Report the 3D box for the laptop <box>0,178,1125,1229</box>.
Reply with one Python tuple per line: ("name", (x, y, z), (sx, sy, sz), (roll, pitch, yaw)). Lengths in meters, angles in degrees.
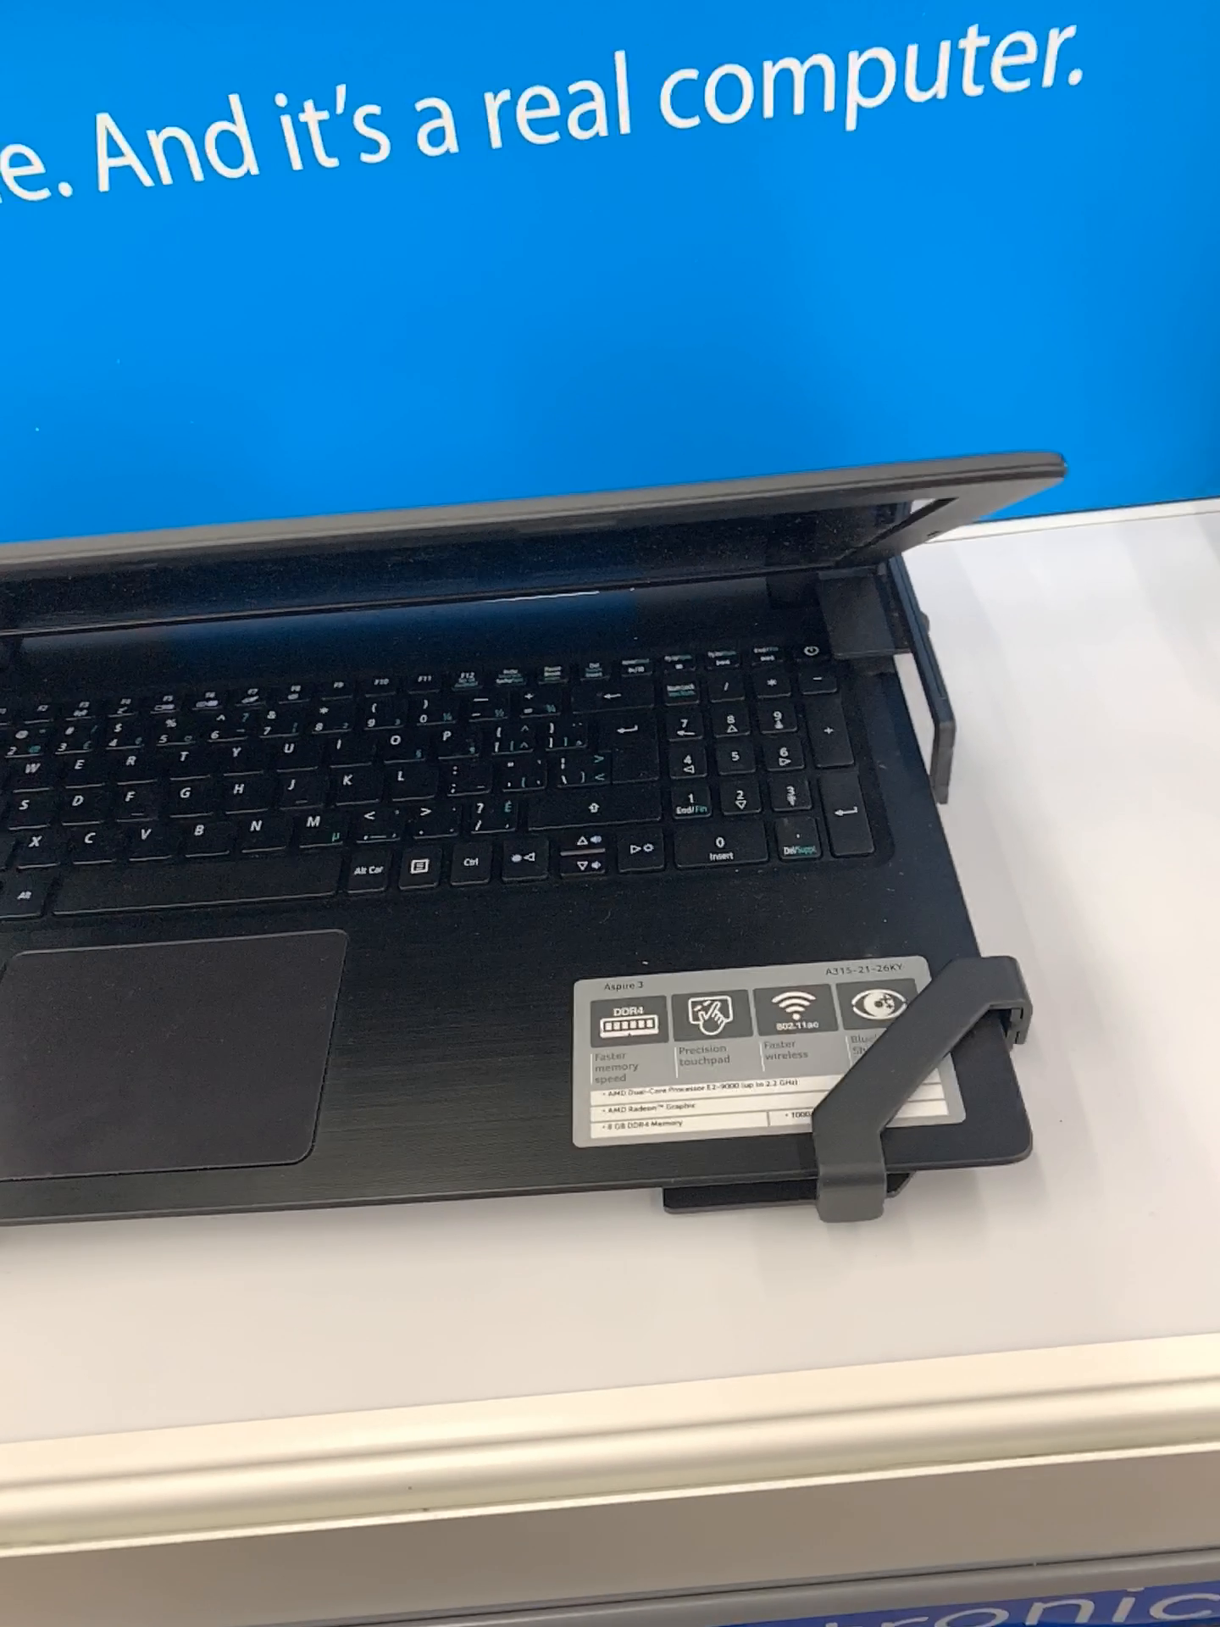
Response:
("laptop", (-0.089, -0.038, 0.344), (0.364, 0.137, 0.222), (-4, 48, 2))
